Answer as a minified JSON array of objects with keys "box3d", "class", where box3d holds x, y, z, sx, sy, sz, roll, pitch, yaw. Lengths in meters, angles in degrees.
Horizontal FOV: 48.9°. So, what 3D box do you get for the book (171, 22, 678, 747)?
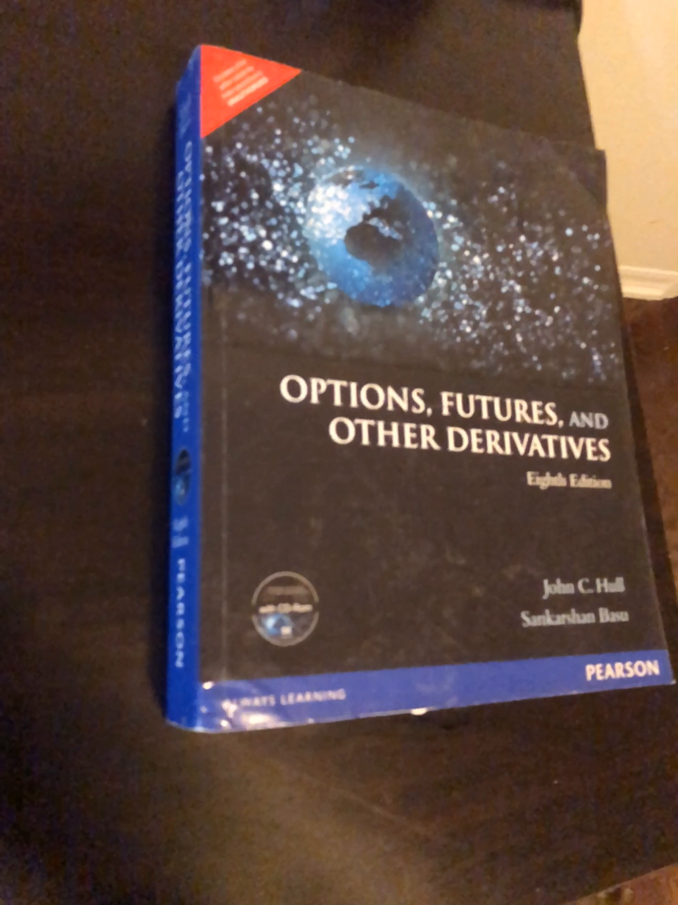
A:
[{"box3d":[0.037,-0.026,0.325,0.208,0.050,0.261,4,77,-26],"class":"book"}]
